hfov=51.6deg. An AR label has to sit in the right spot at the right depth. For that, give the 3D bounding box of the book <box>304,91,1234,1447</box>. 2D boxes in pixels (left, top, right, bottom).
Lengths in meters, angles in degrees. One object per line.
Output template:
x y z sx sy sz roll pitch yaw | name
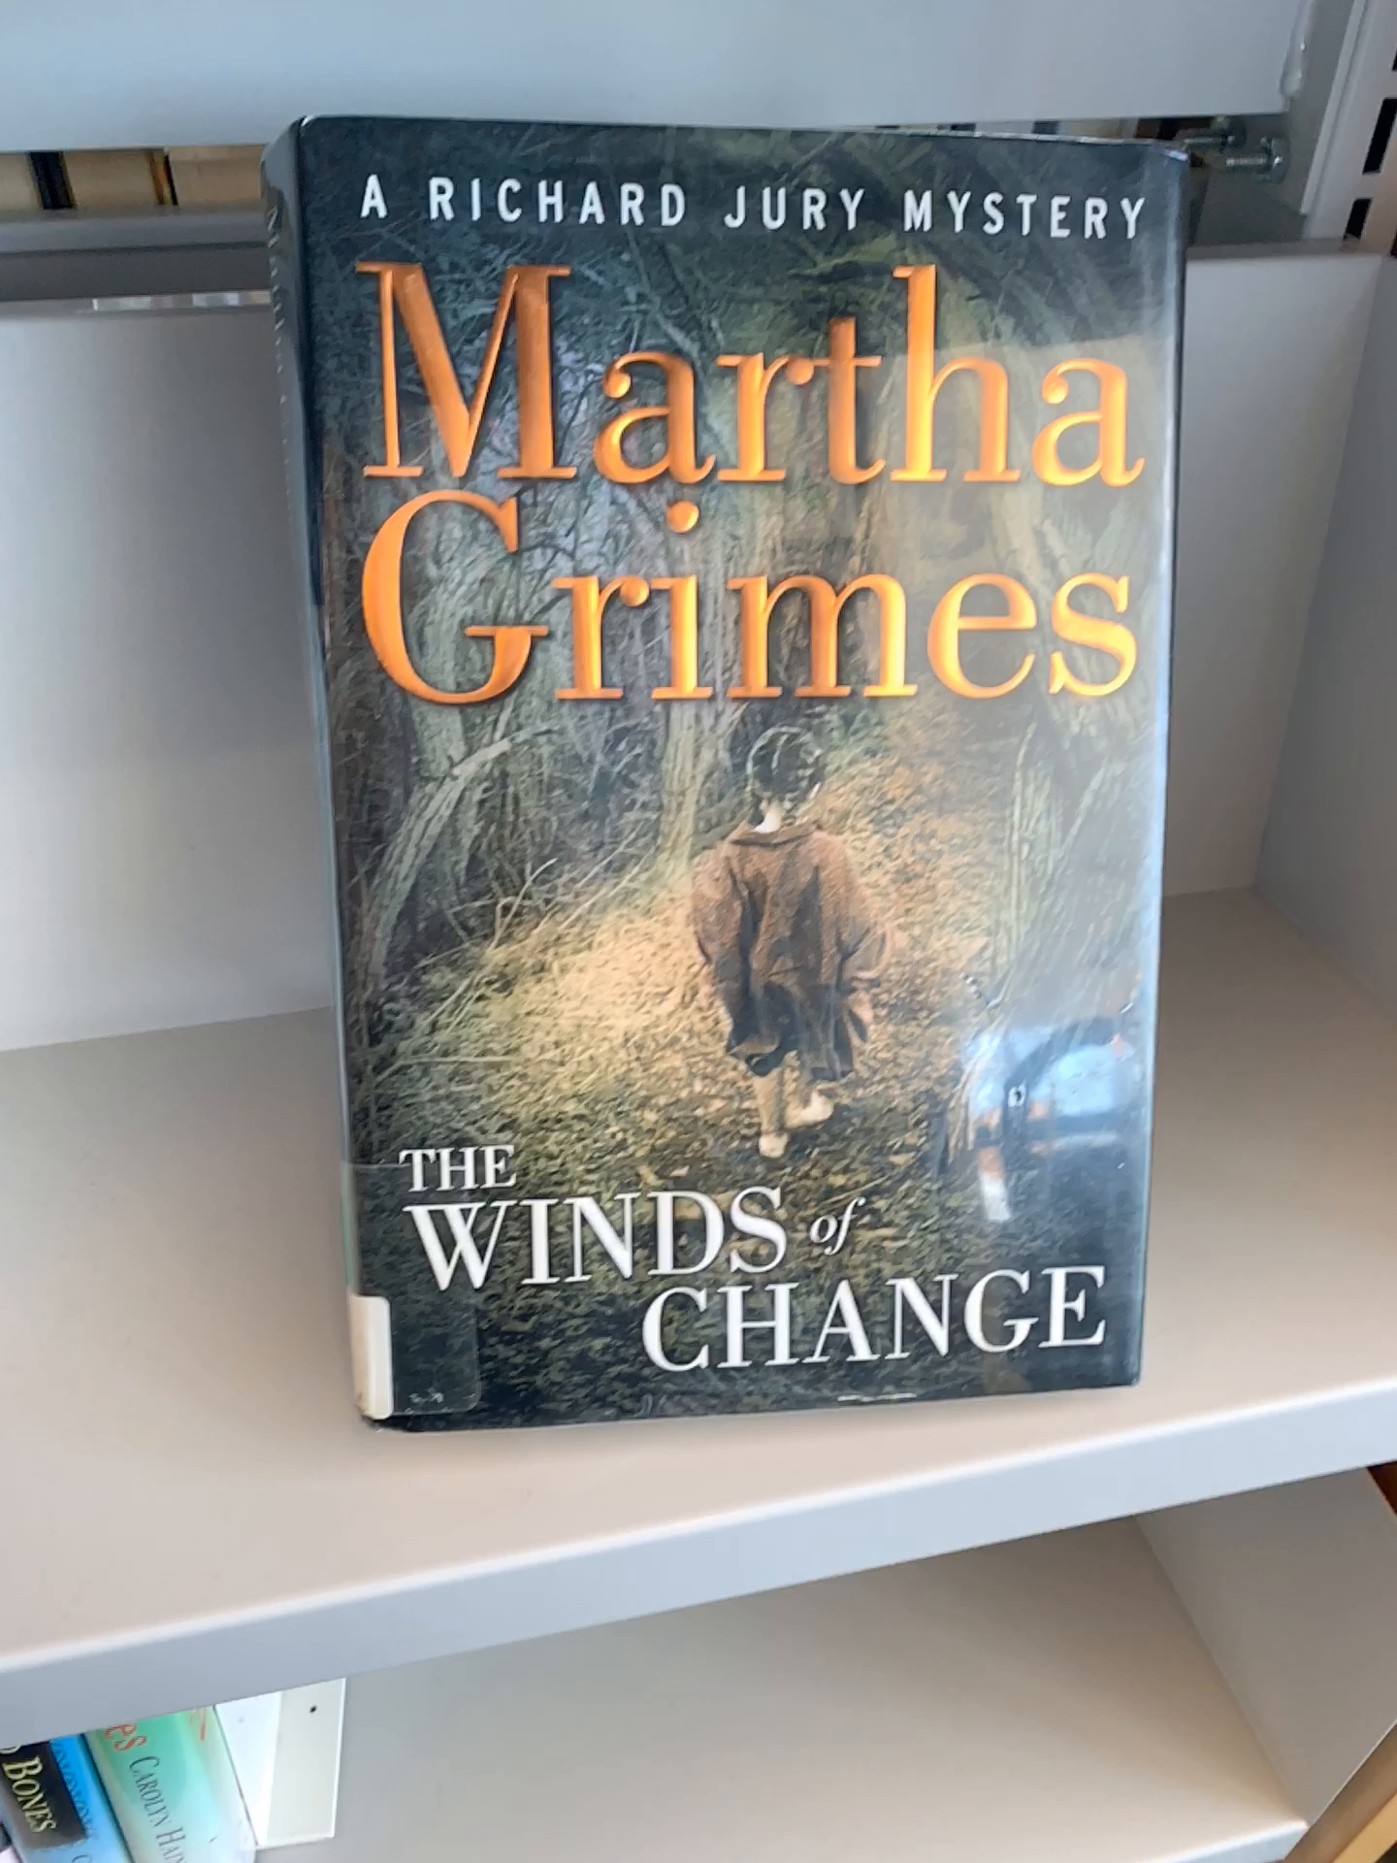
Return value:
0.015 -0.027 0.292 0.160 0.244 0.050 -2 10 -5 | book
